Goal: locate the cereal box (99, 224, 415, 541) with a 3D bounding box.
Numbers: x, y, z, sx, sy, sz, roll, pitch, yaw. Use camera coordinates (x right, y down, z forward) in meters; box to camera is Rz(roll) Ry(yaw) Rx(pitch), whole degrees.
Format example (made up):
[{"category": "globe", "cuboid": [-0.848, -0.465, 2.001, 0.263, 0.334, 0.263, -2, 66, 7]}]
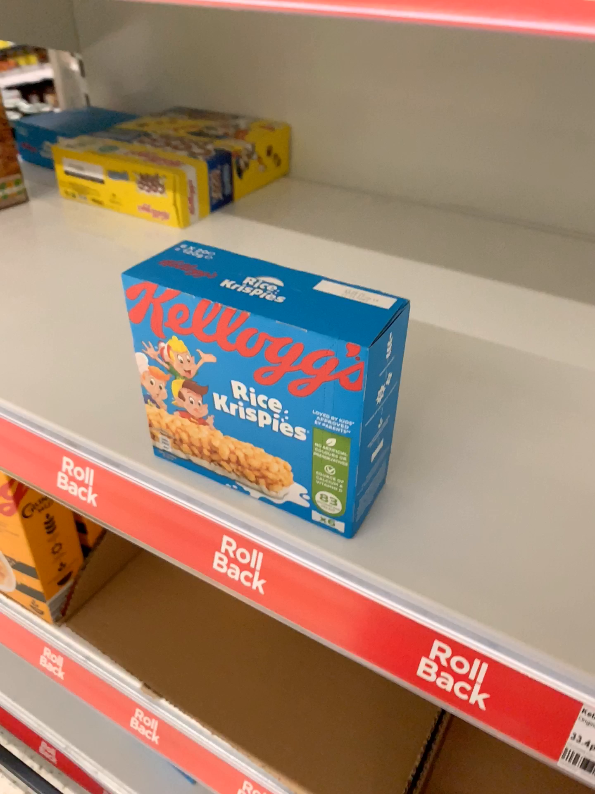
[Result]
[{"category": "cereal box", "cuboid": [-0.024, -0.010, 0.341, 0.150, 0.129, 0.050, 19, 41, 22]}]
